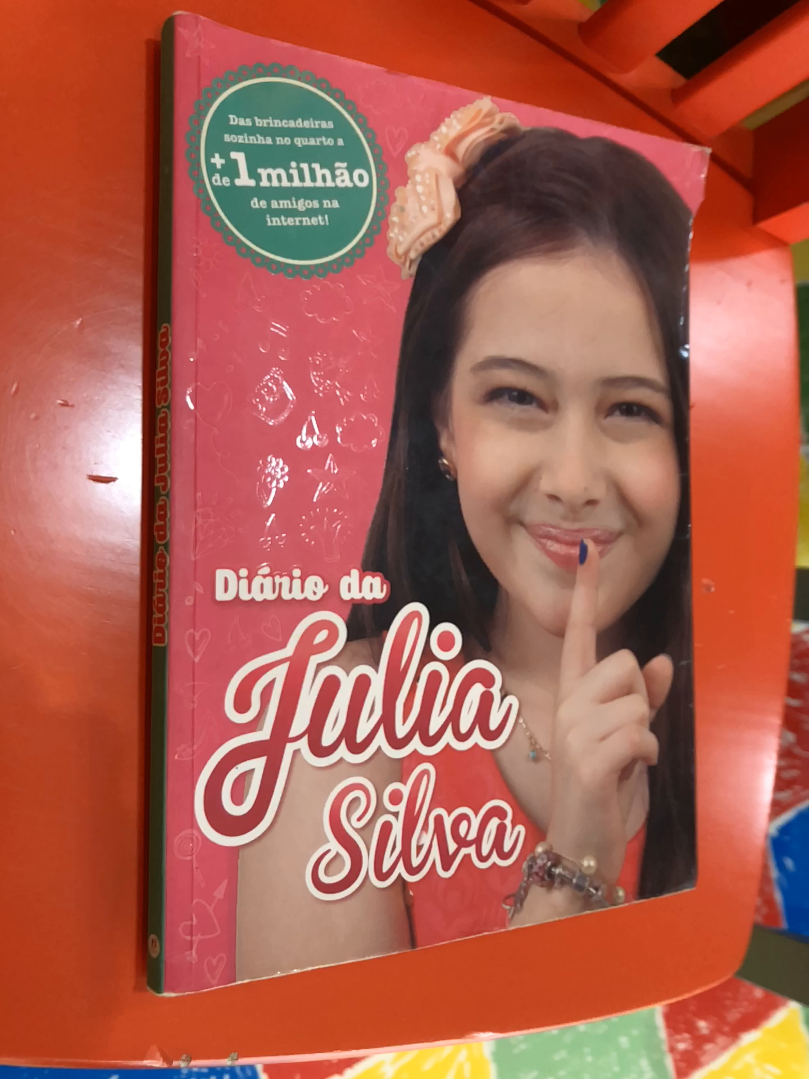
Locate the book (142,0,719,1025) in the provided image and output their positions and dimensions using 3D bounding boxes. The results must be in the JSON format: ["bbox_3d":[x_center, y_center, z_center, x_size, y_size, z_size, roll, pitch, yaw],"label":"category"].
[{"bbox_3d":[0.017,-0.012,0.255,0.171,0.020,0.241,2,85,-30],"label":"book"}]
